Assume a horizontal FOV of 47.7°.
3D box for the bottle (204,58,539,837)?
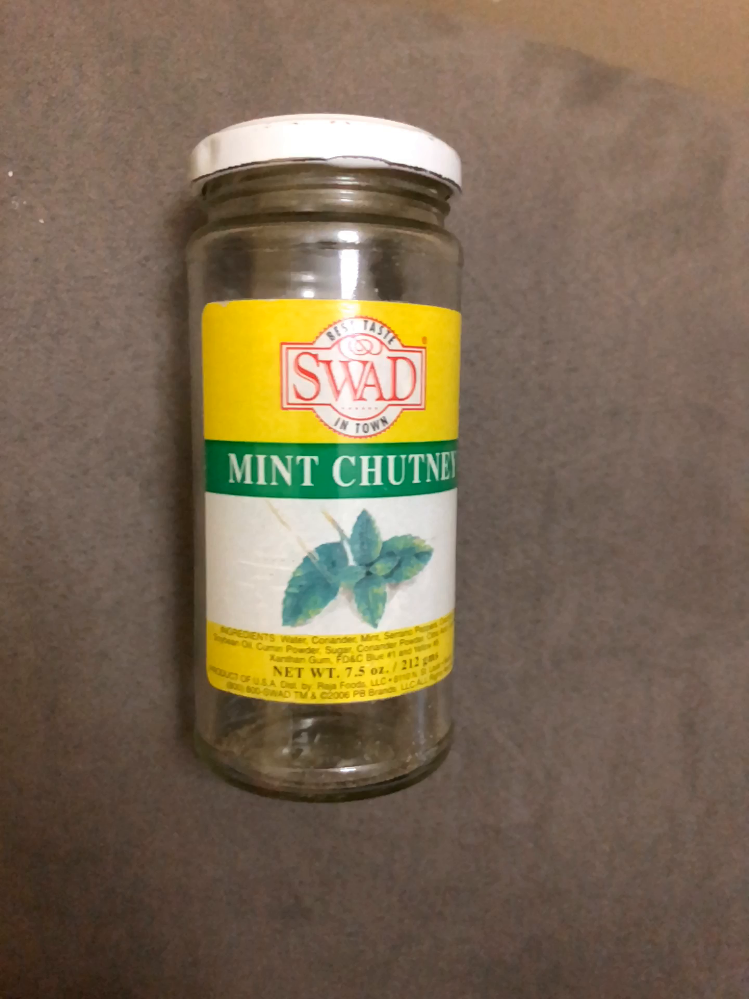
[{"bbox_3d":[-0.005,-0.009,0.177,0.056,0.056,0.133,-1,98,-10],"label":"bottle"}]
